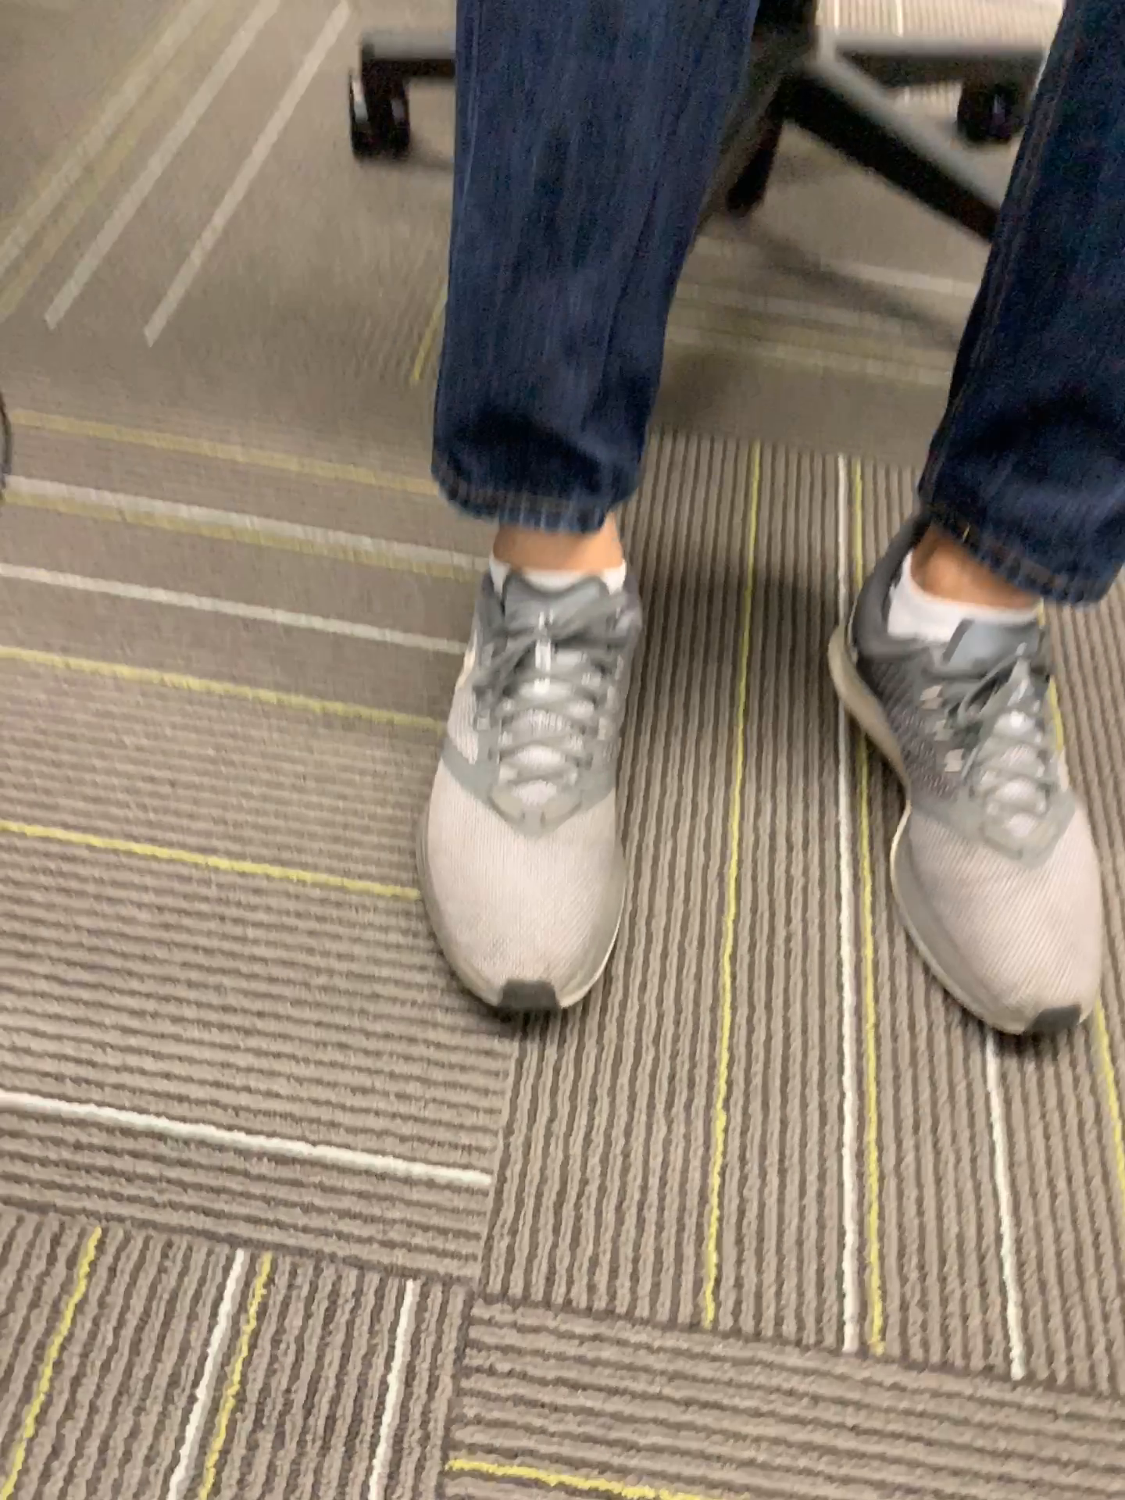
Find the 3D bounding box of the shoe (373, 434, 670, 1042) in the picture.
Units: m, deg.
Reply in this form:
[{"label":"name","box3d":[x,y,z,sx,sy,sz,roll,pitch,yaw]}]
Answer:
[{"label":"shoe","box3d":[-0.017,-0.015,0.601,0.120,0.123,0.291,5,54,-3]}]

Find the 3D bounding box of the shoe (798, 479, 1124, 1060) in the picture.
[{"label":"shoe","box3d":[0.236,0.000,0.628,0.120,0.123,0.291,-3,55,-9]}]
